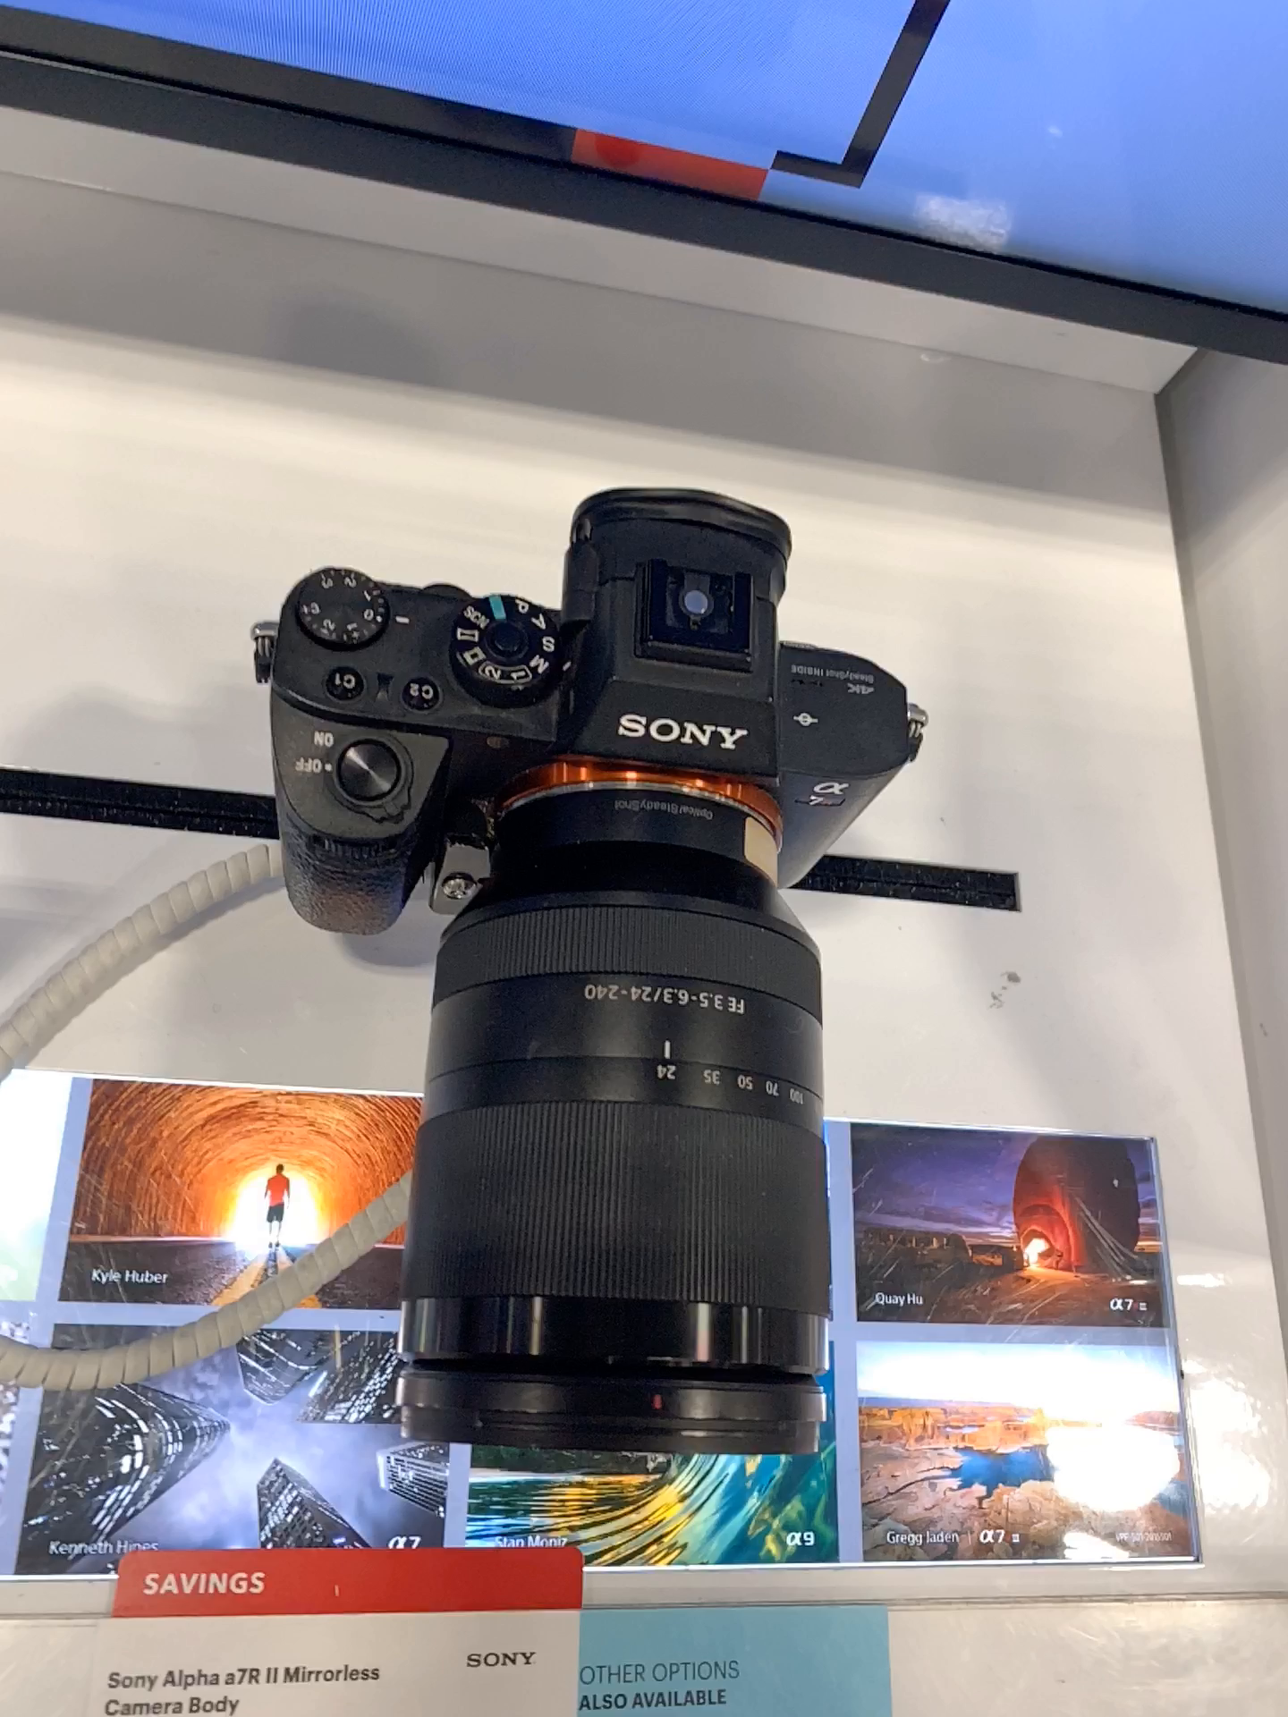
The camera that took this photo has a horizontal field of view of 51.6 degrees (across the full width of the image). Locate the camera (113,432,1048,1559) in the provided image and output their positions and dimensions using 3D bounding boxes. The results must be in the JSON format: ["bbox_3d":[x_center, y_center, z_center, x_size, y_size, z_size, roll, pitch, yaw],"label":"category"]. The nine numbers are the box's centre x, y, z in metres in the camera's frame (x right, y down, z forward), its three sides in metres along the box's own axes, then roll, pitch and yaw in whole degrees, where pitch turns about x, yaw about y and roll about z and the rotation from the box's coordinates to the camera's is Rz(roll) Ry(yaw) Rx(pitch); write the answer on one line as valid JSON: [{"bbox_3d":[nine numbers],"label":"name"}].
[{"bbox_3d":[-0.014,0.029,0.258,0.130,0.100,0.172,4,70,-11],"label":"camera"}]
